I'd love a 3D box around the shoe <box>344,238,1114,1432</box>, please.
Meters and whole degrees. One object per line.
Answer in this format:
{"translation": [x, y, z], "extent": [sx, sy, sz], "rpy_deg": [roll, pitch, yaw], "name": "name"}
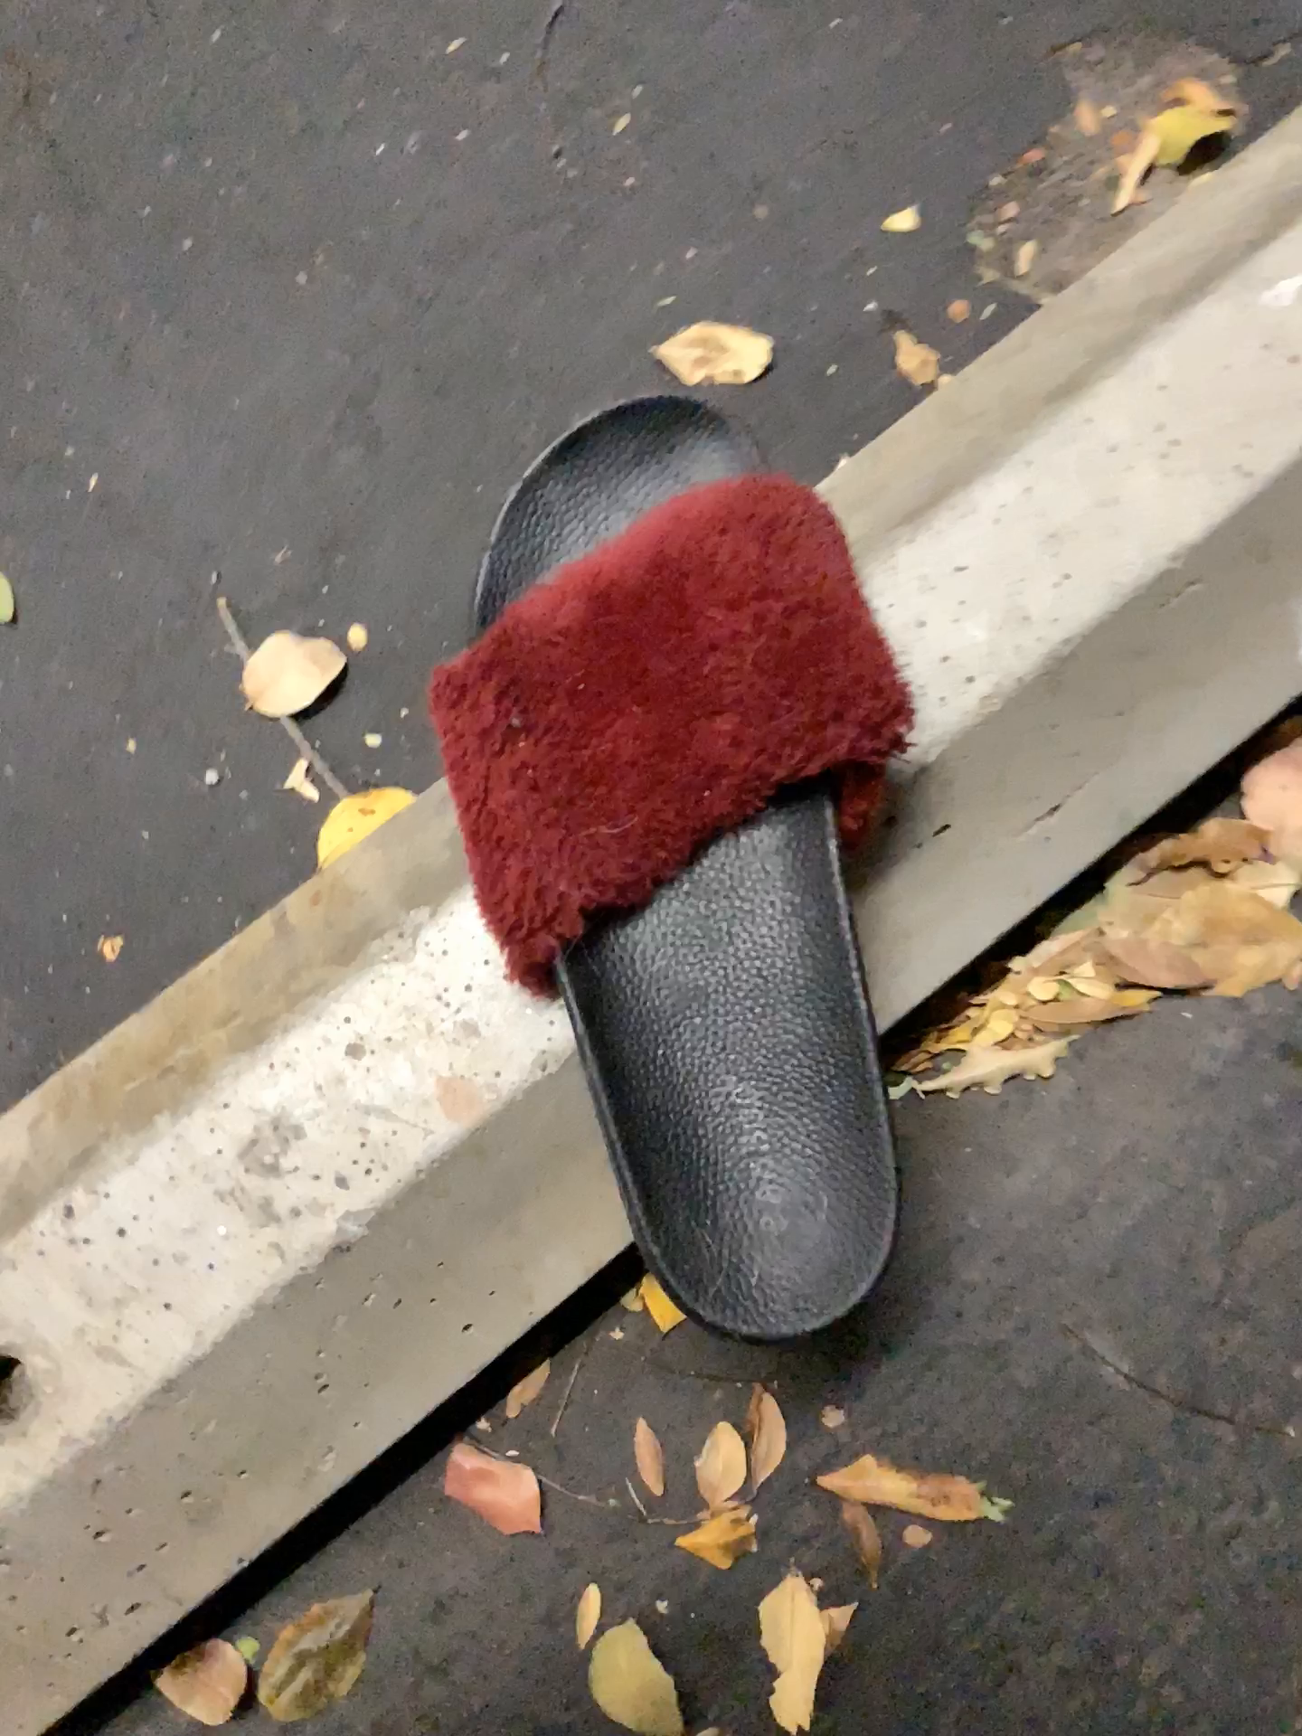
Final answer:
{"translation": [0.014, -0.014, 0.383], "extent": [0.140, 0.050, 0.280], "rpy_deg": [-11, 81, 0], "name": "shoe"}
